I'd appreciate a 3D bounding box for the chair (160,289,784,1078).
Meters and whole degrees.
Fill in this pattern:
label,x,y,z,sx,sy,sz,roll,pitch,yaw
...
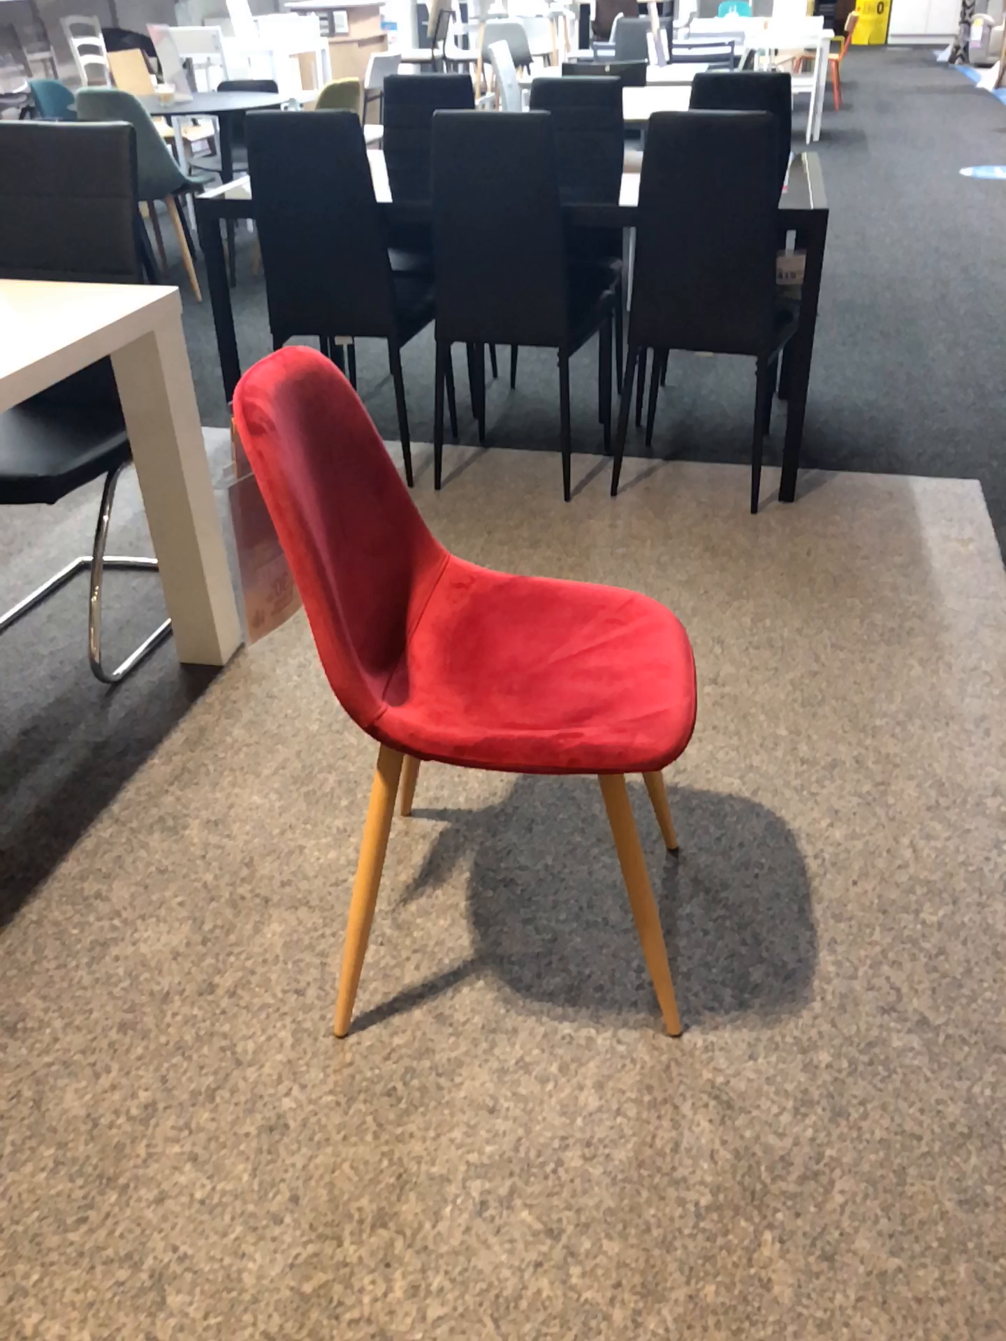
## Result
label,x,y,z,sx,sy,sz,roll,pitch,yaw
chair,0.008,0.001,1.395,0.550,0.815,0.534,3,32,7
